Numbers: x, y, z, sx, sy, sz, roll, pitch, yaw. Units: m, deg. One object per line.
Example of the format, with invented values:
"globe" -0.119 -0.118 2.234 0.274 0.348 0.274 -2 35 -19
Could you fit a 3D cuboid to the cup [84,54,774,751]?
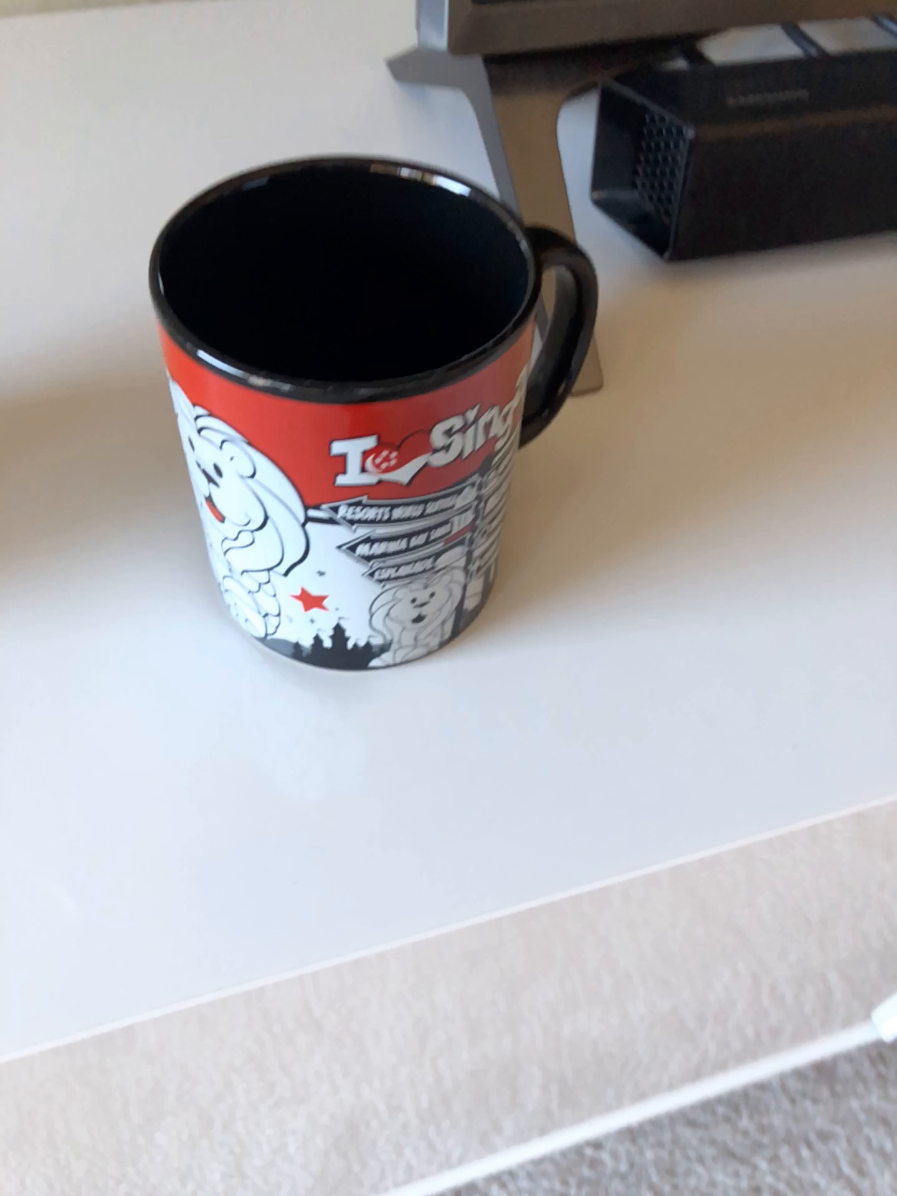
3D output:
"cup" -0.004 -0.049 0.253 0.120 0.110 0.080 -32 60 -25
